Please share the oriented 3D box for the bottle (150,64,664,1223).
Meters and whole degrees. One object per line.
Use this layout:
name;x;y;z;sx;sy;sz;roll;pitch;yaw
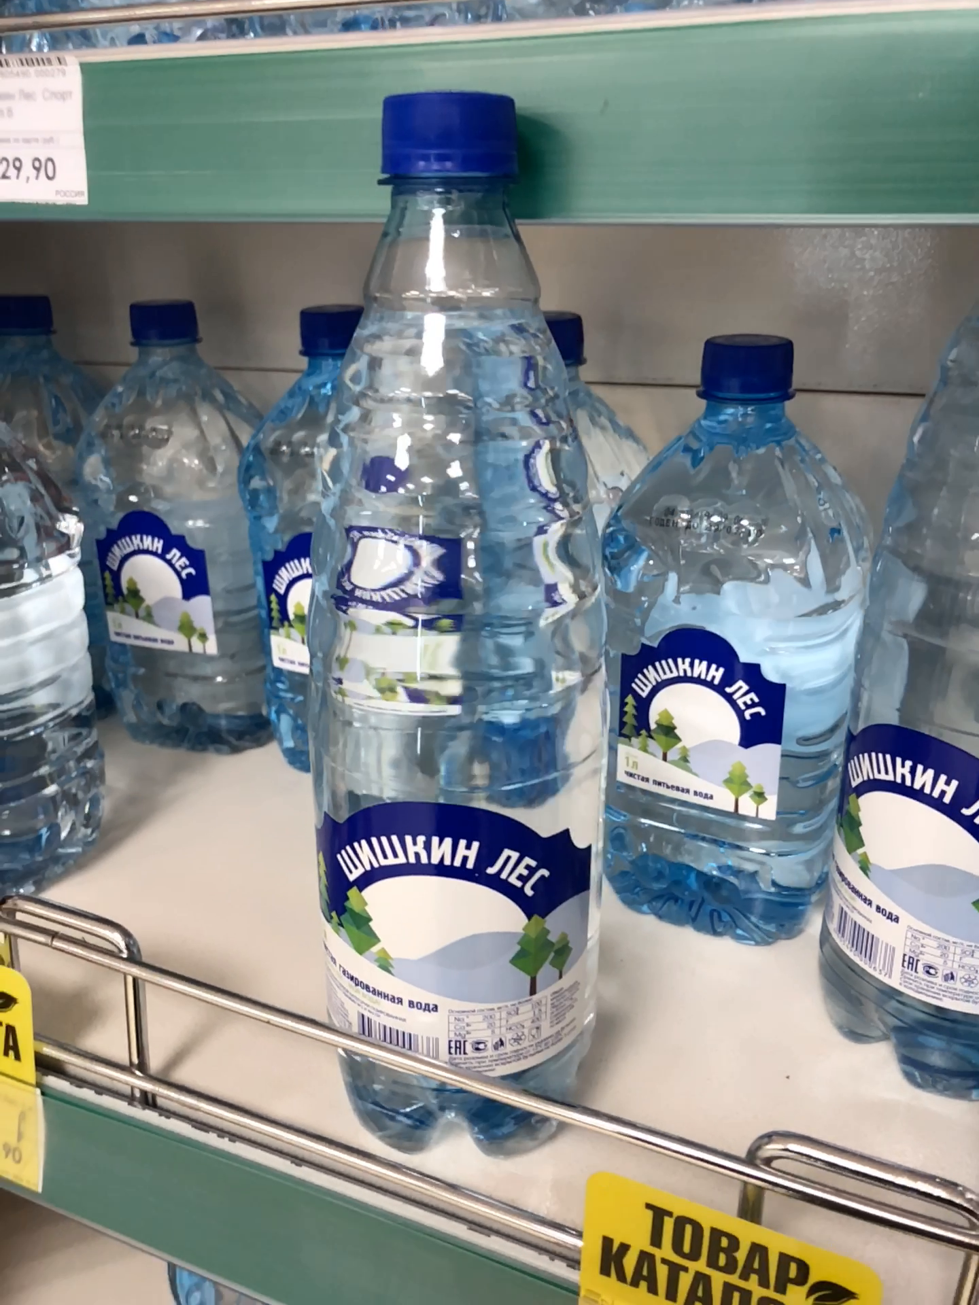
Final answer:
bottle;-0.009;0.006;0.287;0.090;0.273;0.080;5;22;16
